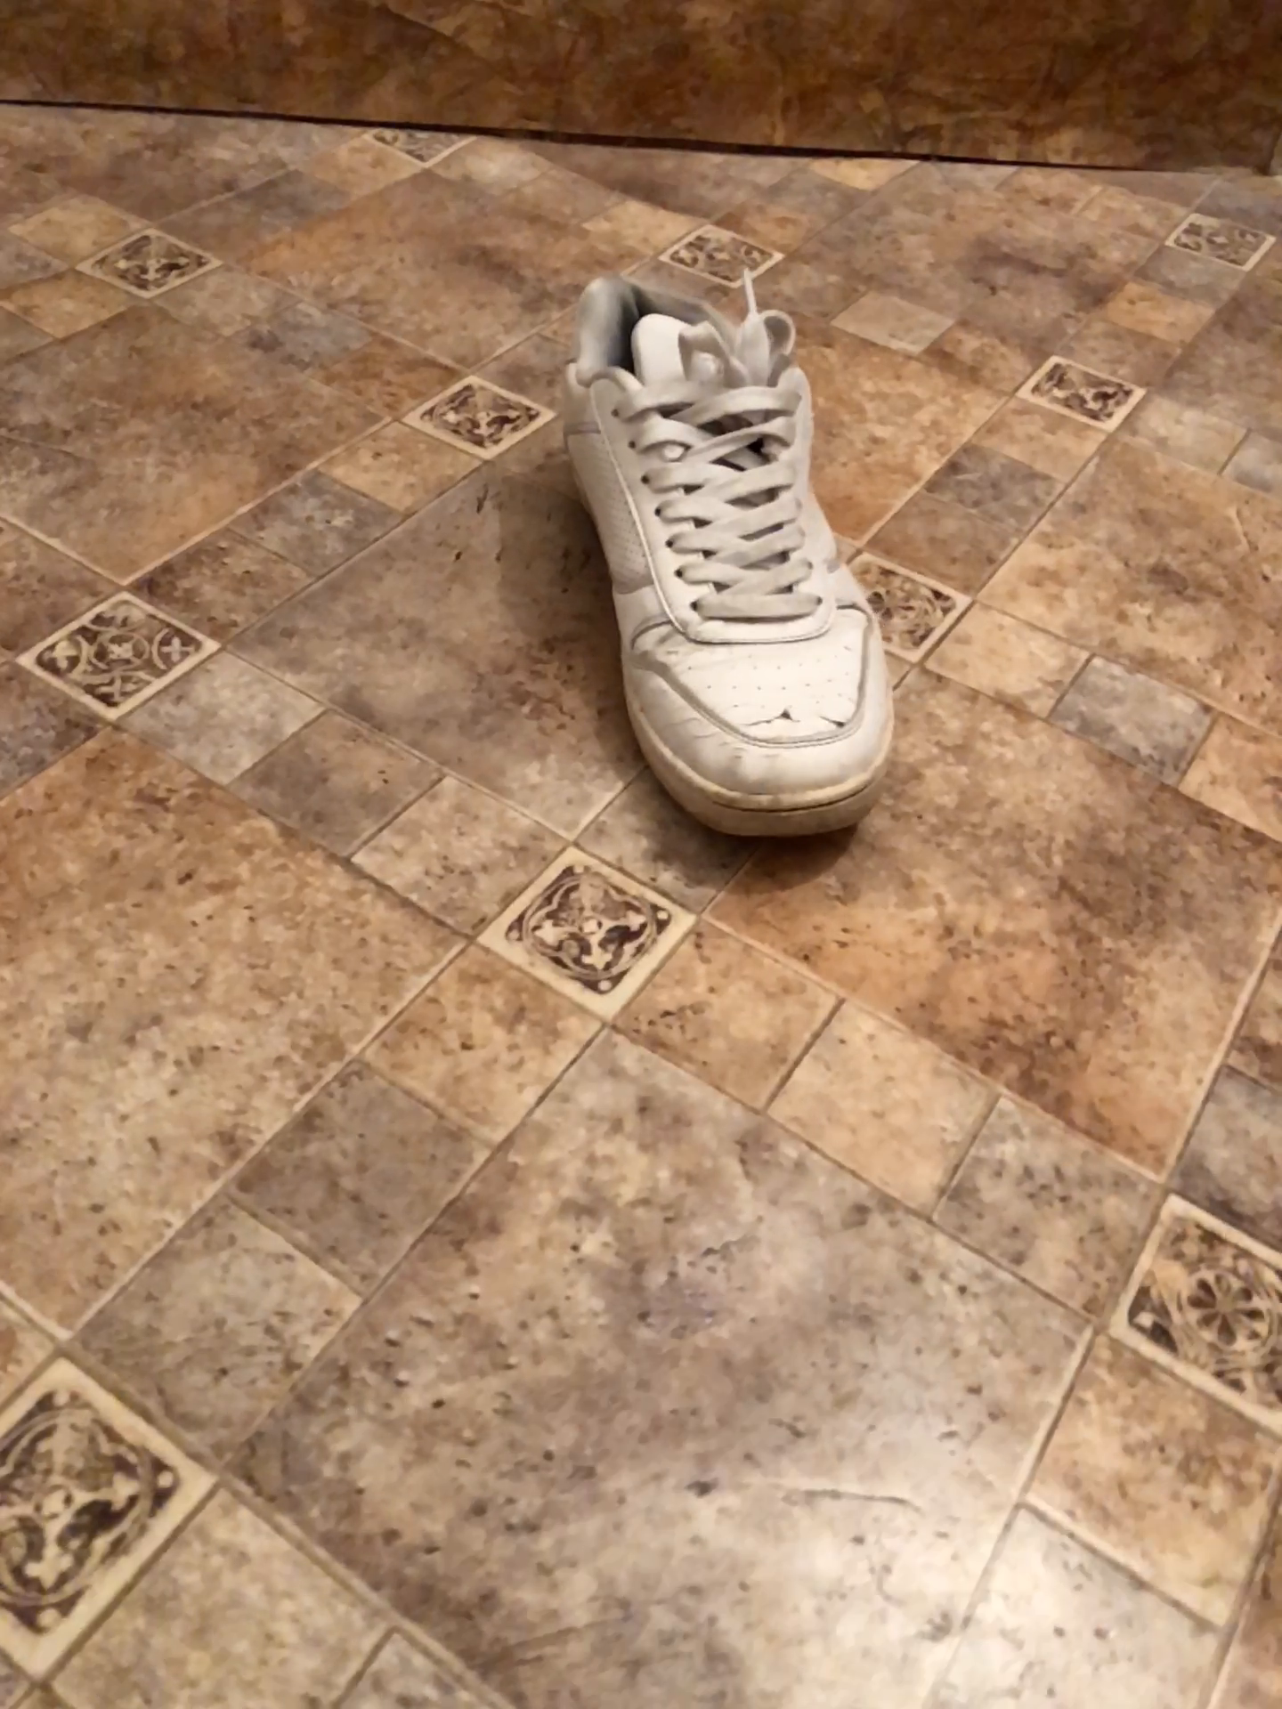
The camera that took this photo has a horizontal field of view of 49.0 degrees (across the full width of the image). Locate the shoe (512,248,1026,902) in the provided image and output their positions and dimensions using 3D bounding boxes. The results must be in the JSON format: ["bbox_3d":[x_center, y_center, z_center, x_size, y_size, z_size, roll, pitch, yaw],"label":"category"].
[{"bbox_3d":[0.031,-0.129,0.575,0.122,0.109,0.282,-6,49,-12],"label":"shoe"}]
